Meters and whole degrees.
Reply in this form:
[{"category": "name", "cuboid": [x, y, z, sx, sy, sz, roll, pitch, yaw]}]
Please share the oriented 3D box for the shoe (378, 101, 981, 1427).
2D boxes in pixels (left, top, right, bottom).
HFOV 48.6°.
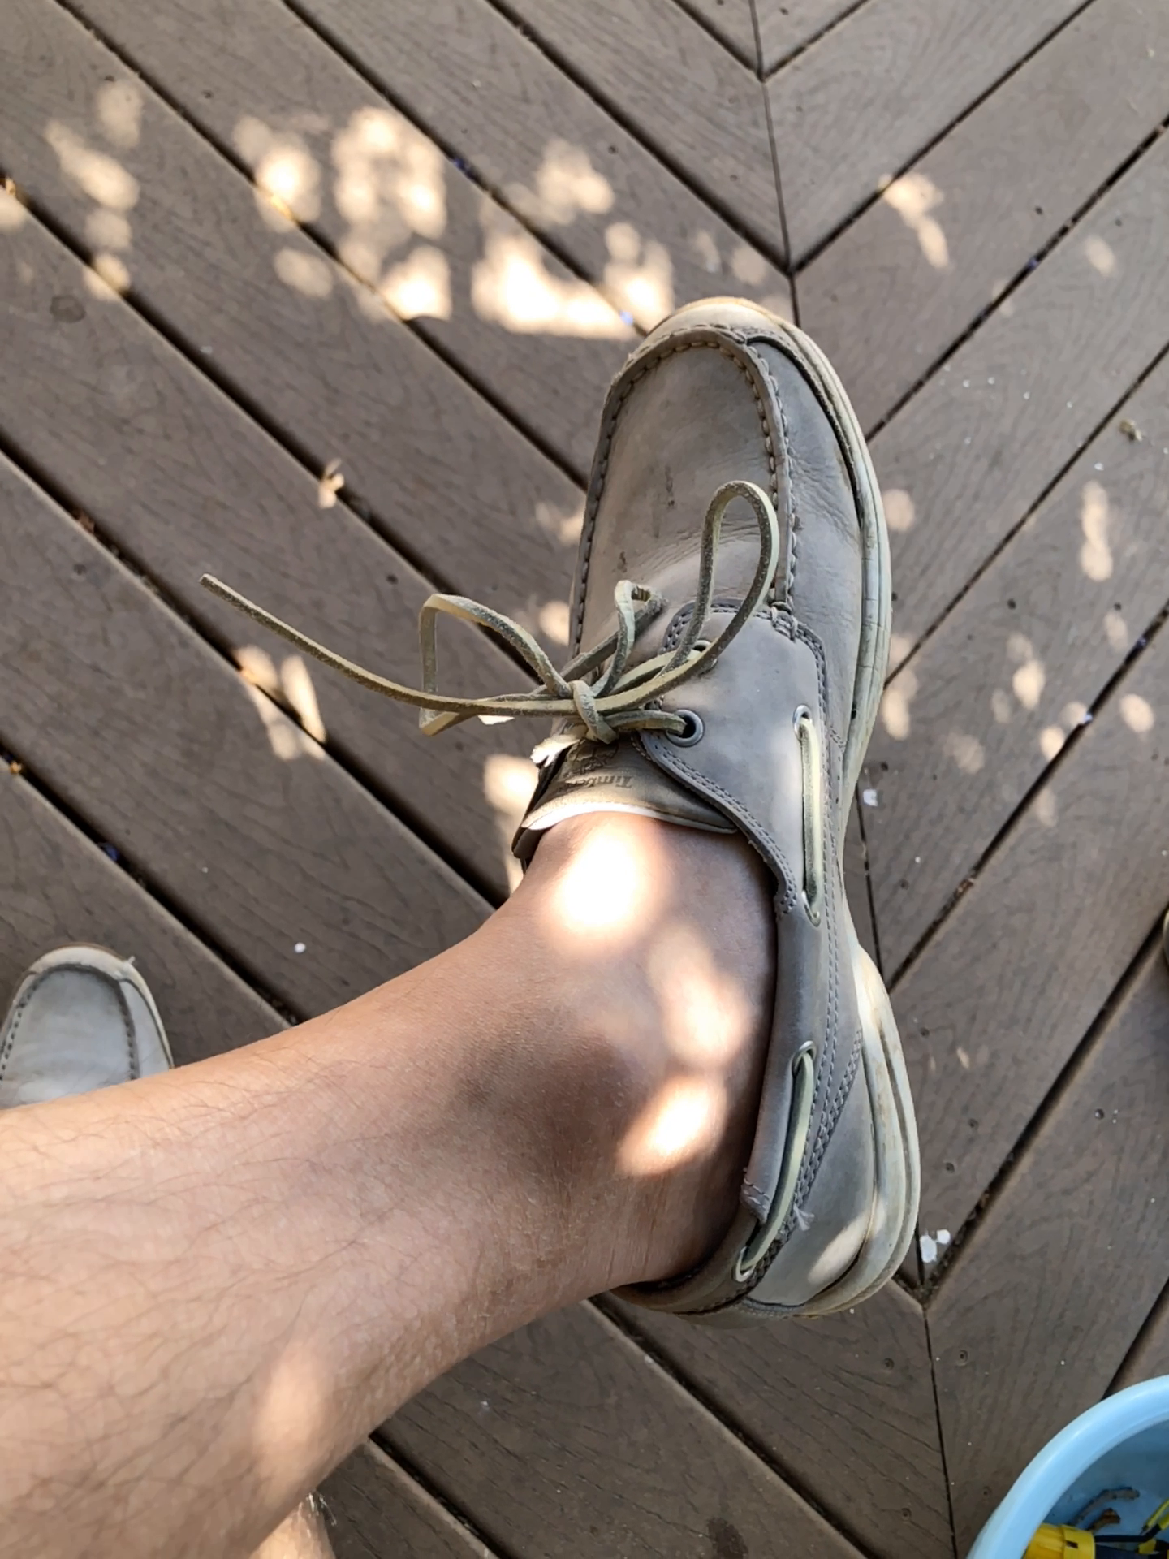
[{"category": "shoe", "cuboid": [0.025, -0.004, 0.360, 0.106, 0.113, 0.303, 19, 66, -55]}]
